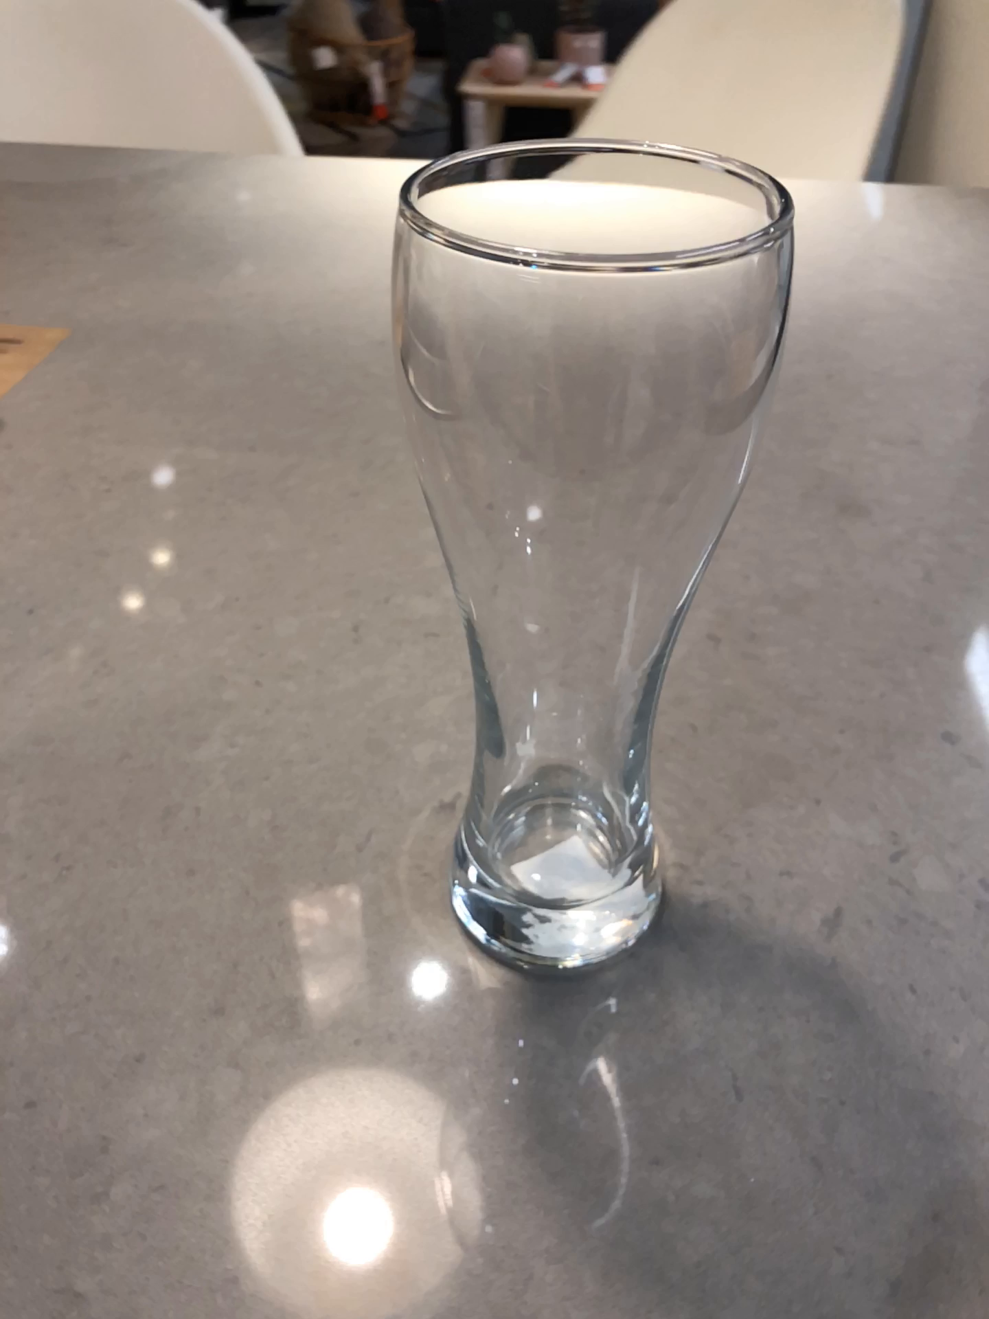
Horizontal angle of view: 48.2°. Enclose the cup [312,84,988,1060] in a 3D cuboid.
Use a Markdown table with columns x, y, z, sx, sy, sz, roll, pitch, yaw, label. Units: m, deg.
| x | y | z | sx | sy | sz | roll | pitch | yaw | label |
| --- | --- | --- | --- | --- | --- | --- | --- | --- | --- |
| 0.030 | -0.017 | 0.295 | 0.100 | 0.219 | 0.100 | 0 | 39 | 0 | cup |
